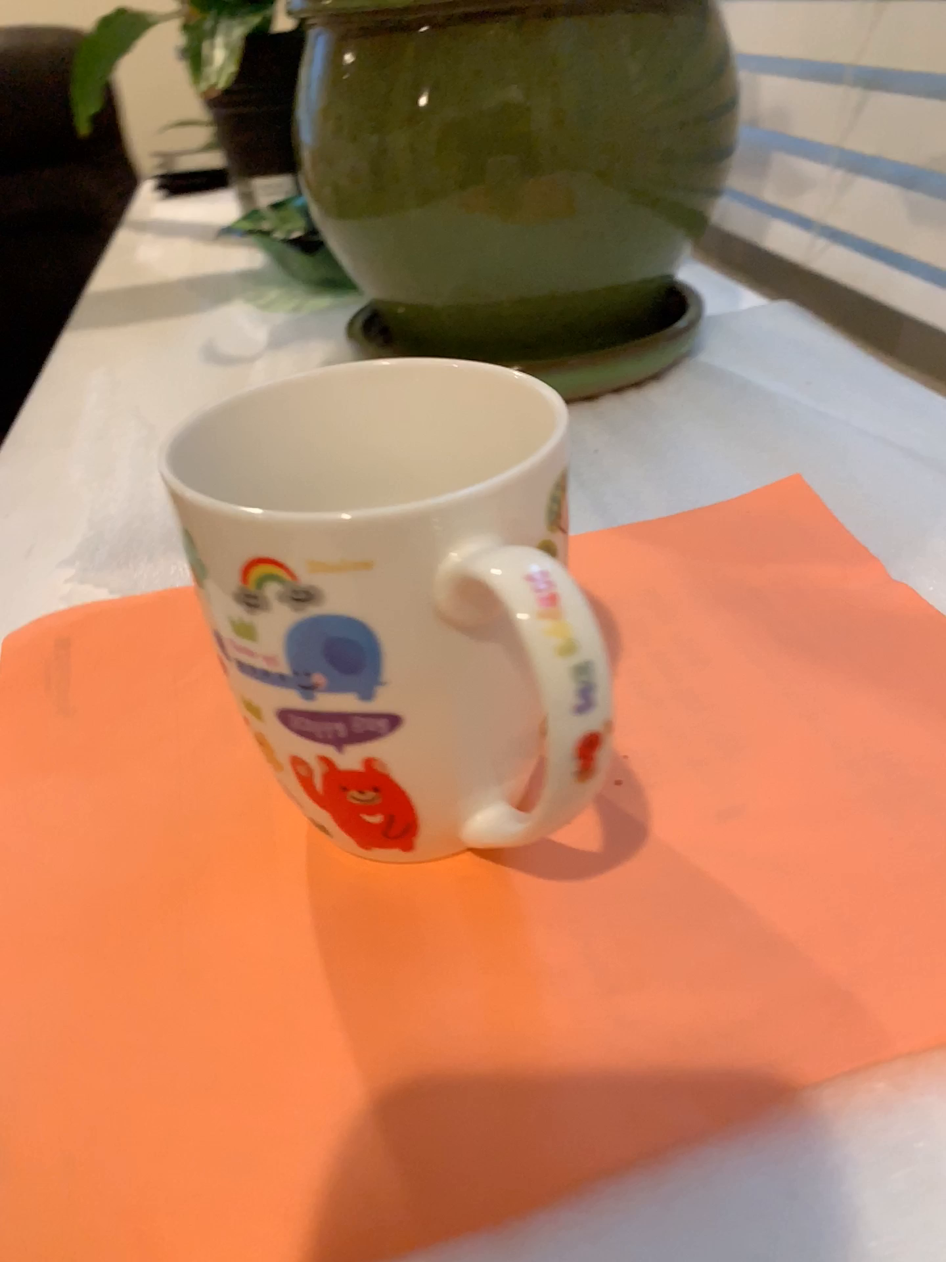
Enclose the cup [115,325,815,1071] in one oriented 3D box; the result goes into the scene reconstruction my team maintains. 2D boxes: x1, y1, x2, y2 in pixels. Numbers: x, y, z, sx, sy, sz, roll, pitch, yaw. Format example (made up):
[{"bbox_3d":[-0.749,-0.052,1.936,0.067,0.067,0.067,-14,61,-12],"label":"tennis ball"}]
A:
[{"bbox_3d":[-0.009,0.000,0.215,0.090,0.089,0.121,-20,36,-22],"label":"cup"}]
